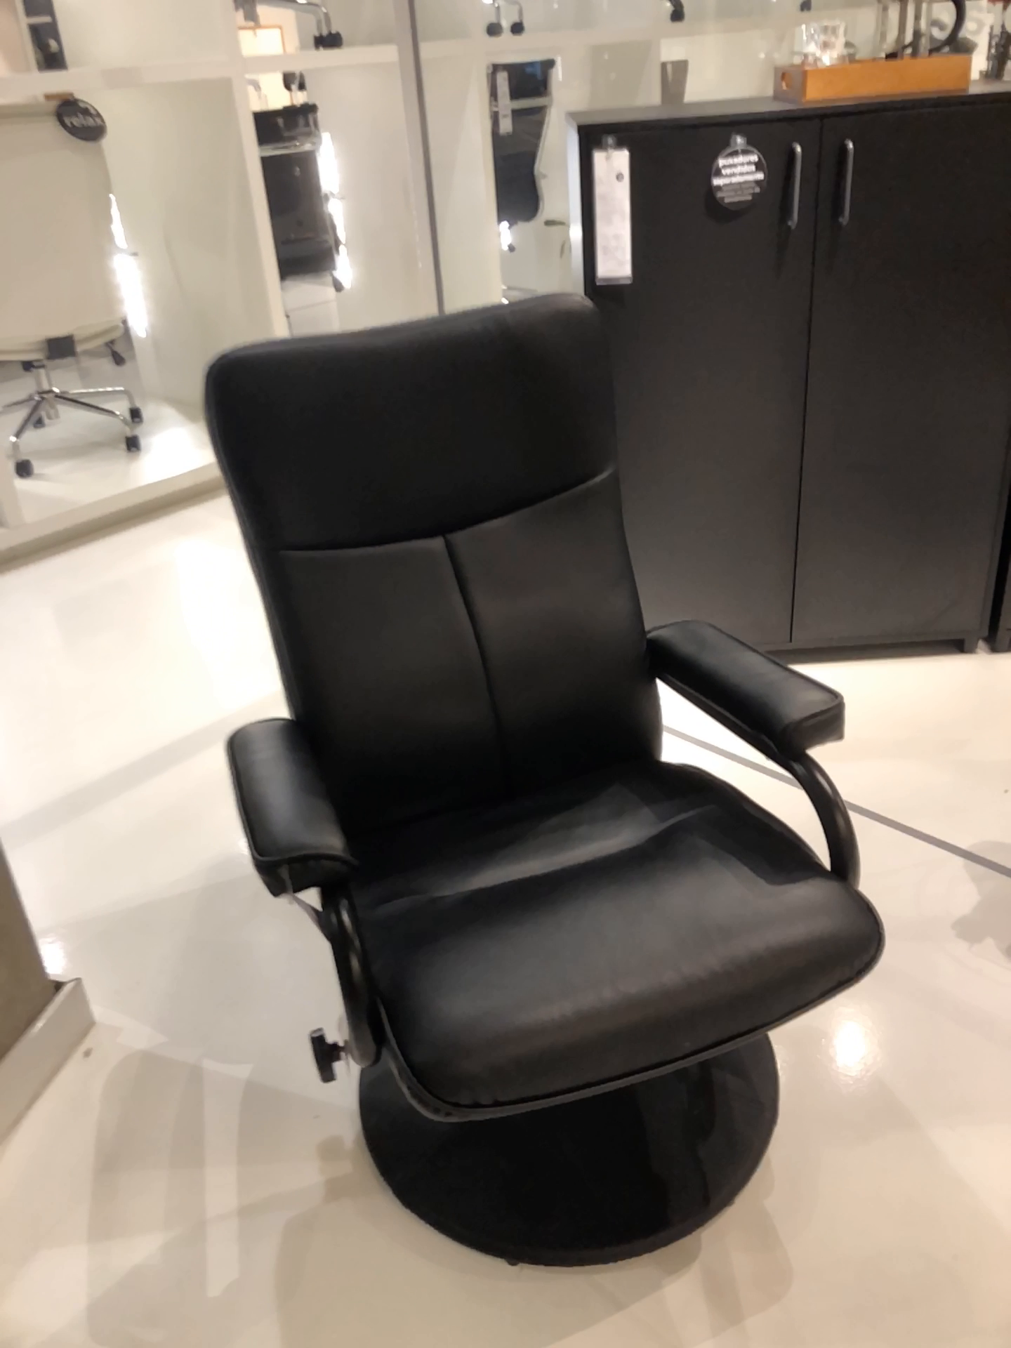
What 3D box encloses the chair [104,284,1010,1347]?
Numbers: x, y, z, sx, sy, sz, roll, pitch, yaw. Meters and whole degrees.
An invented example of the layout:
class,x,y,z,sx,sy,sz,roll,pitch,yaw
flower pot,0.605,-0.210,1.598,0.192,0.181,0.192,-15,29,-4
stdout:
class,x,y,z,sx,sy,sz,roll,pitch,yaw
chair,0.010,0.146,1.346,0.691,0.993,0.735,-14,30,-16
